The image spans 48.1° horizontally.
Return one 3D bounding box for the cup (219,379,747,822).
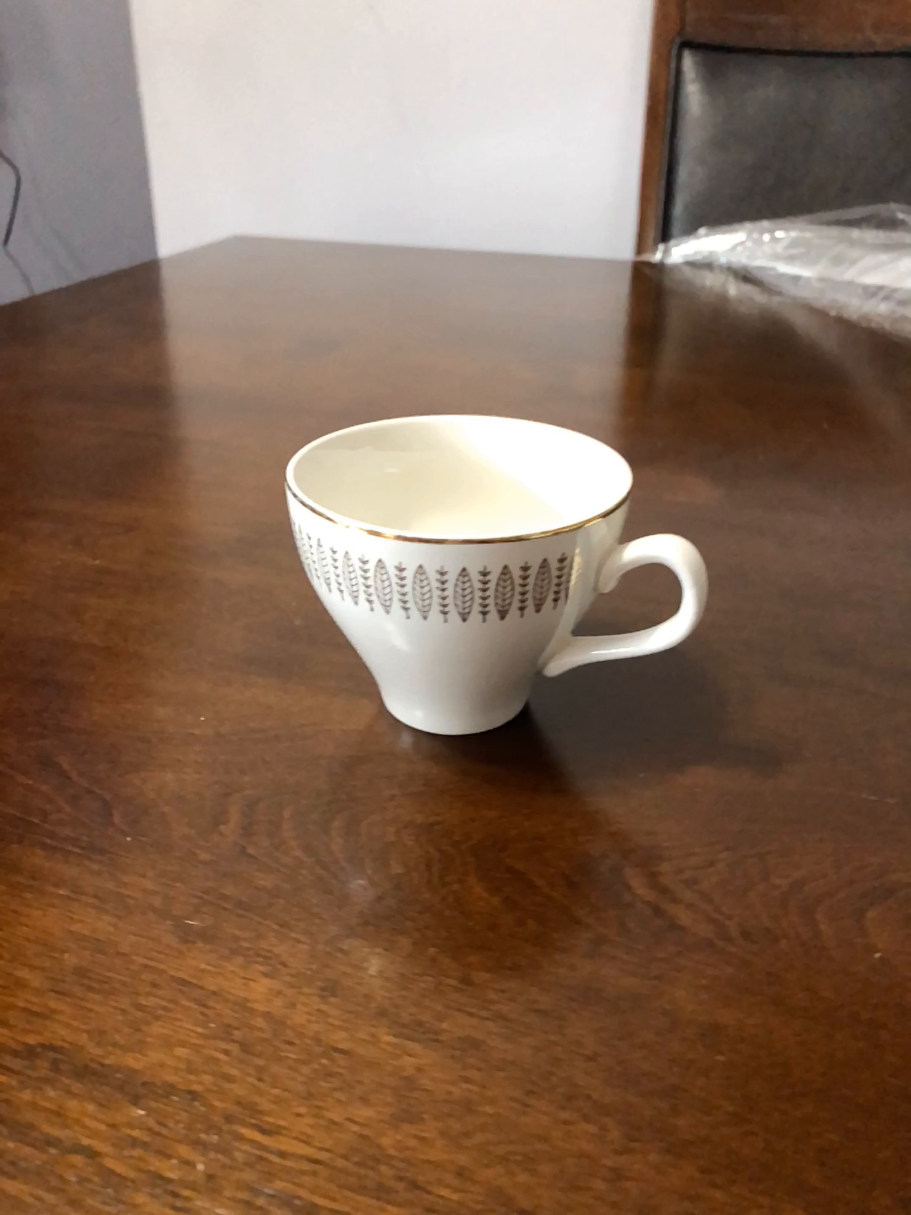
[{"bbox_3d":[0.011,-0.010,0.254,0.100,0.060,0.090,11,30,18],"label":"cup"}]
